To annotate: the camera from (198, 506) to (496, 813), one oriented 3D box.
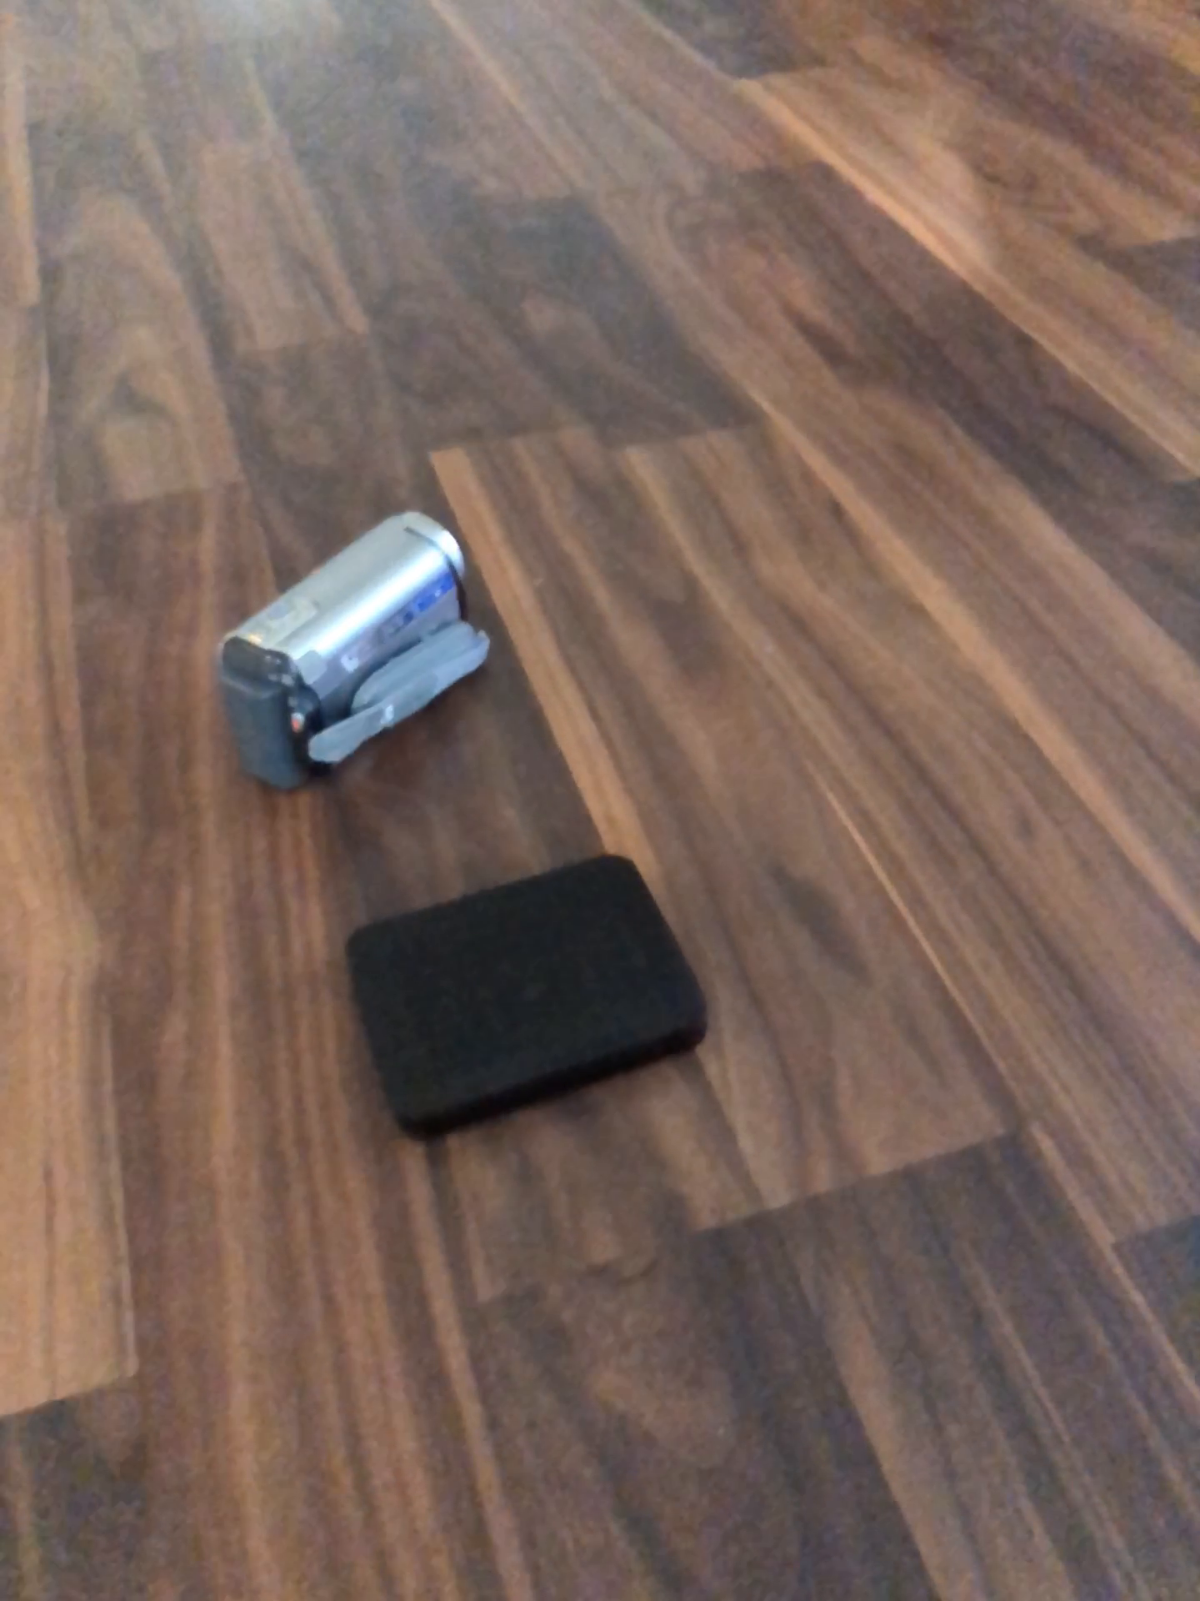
[{"bbox_3d":[-0.100,-0.061,0.553,0.048,0.065,0.115,26,50,25],"label":"camera"}]
